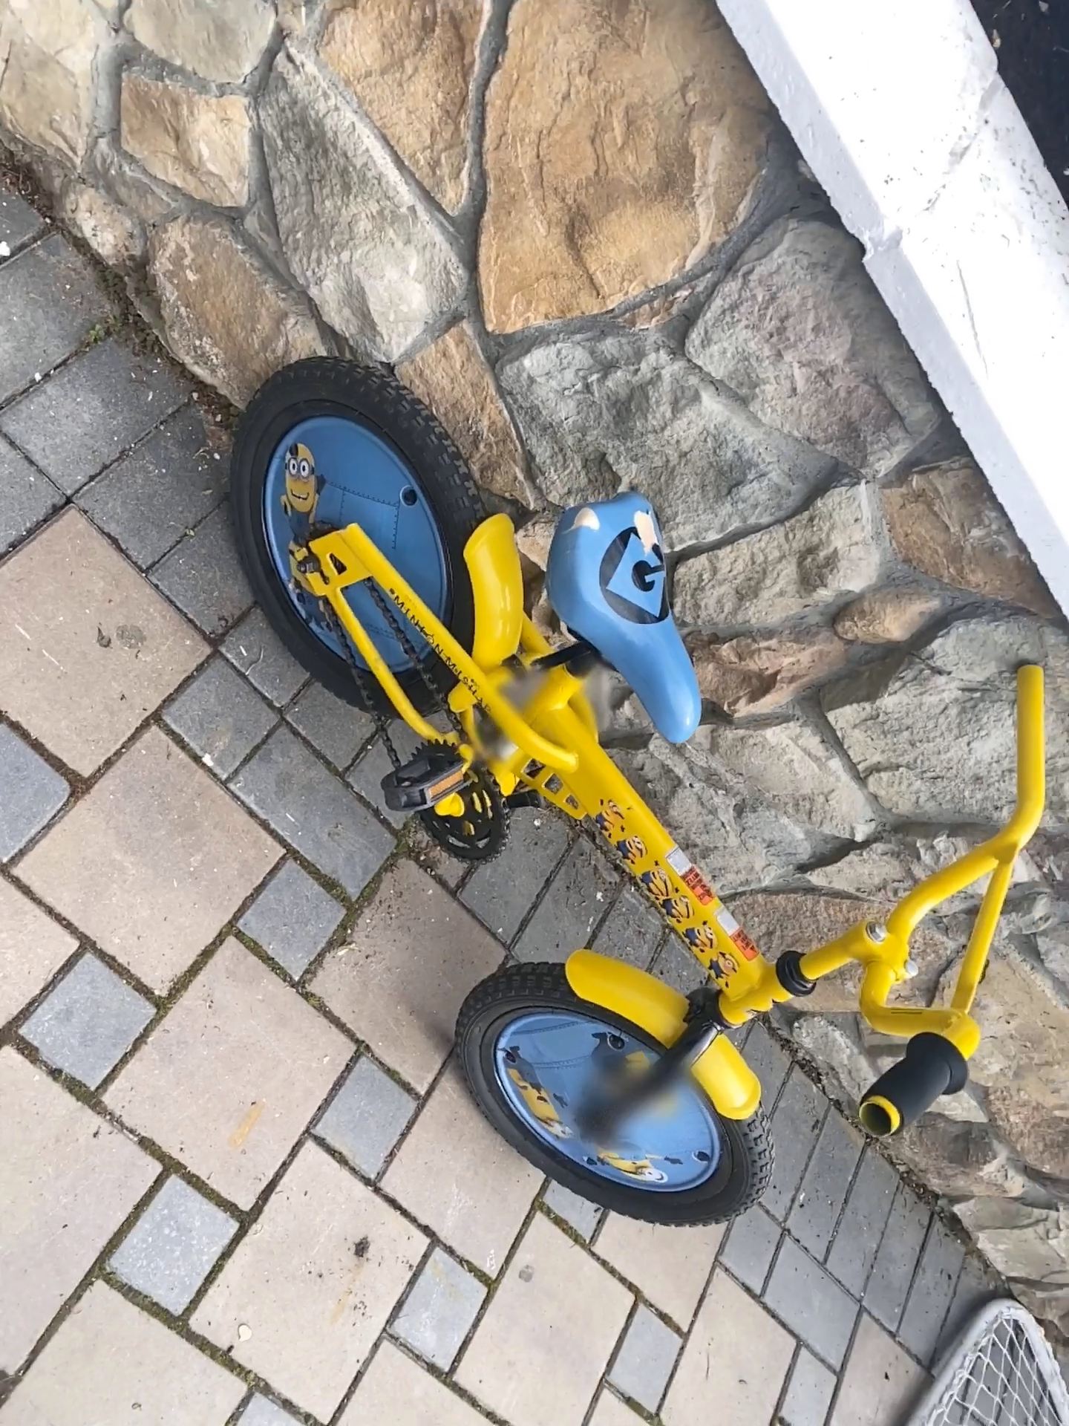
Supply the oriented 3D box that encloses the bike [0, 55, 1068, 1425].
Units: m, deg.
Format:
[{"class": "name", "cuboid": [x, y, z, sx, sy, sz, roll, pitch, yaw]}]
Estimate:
[{"class": "bike", "cuboid": [0.131, 0.086, 1.103, 0.621, 0.736, 1.086, -33, 99, -40]}]
